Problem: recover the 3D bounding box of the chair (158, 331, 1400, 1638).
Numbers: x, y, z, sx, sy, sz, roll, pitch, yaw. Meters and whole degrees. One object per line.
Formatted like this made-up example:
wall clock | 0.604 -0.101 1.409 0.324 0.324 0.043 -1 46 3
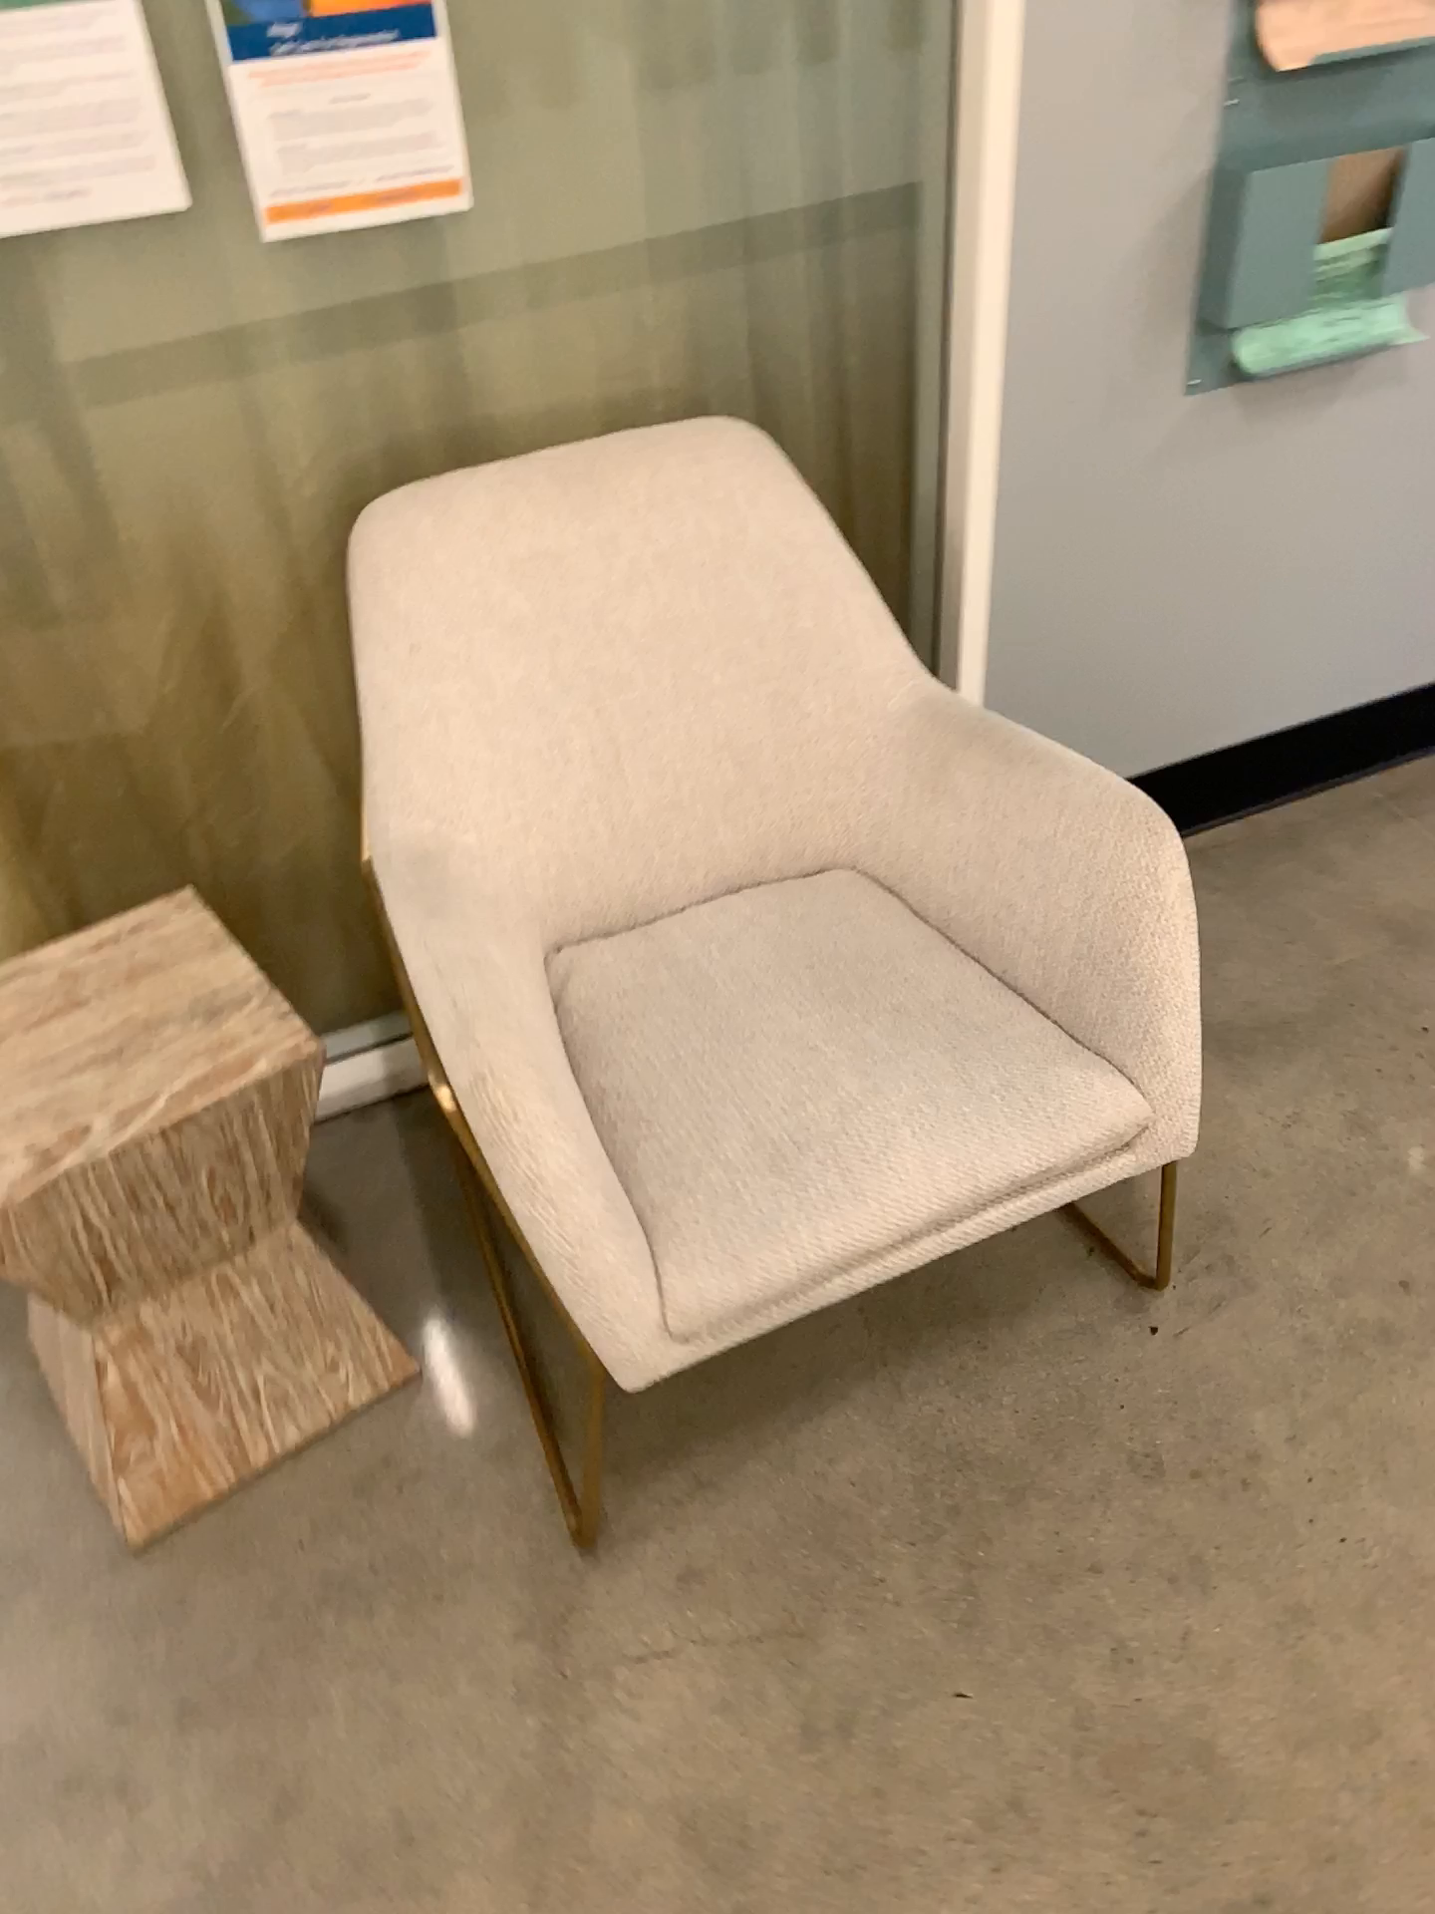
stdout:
chair | 0.012 -0.030 1.510 0.780 0.864 0.775 -20 41 -19
